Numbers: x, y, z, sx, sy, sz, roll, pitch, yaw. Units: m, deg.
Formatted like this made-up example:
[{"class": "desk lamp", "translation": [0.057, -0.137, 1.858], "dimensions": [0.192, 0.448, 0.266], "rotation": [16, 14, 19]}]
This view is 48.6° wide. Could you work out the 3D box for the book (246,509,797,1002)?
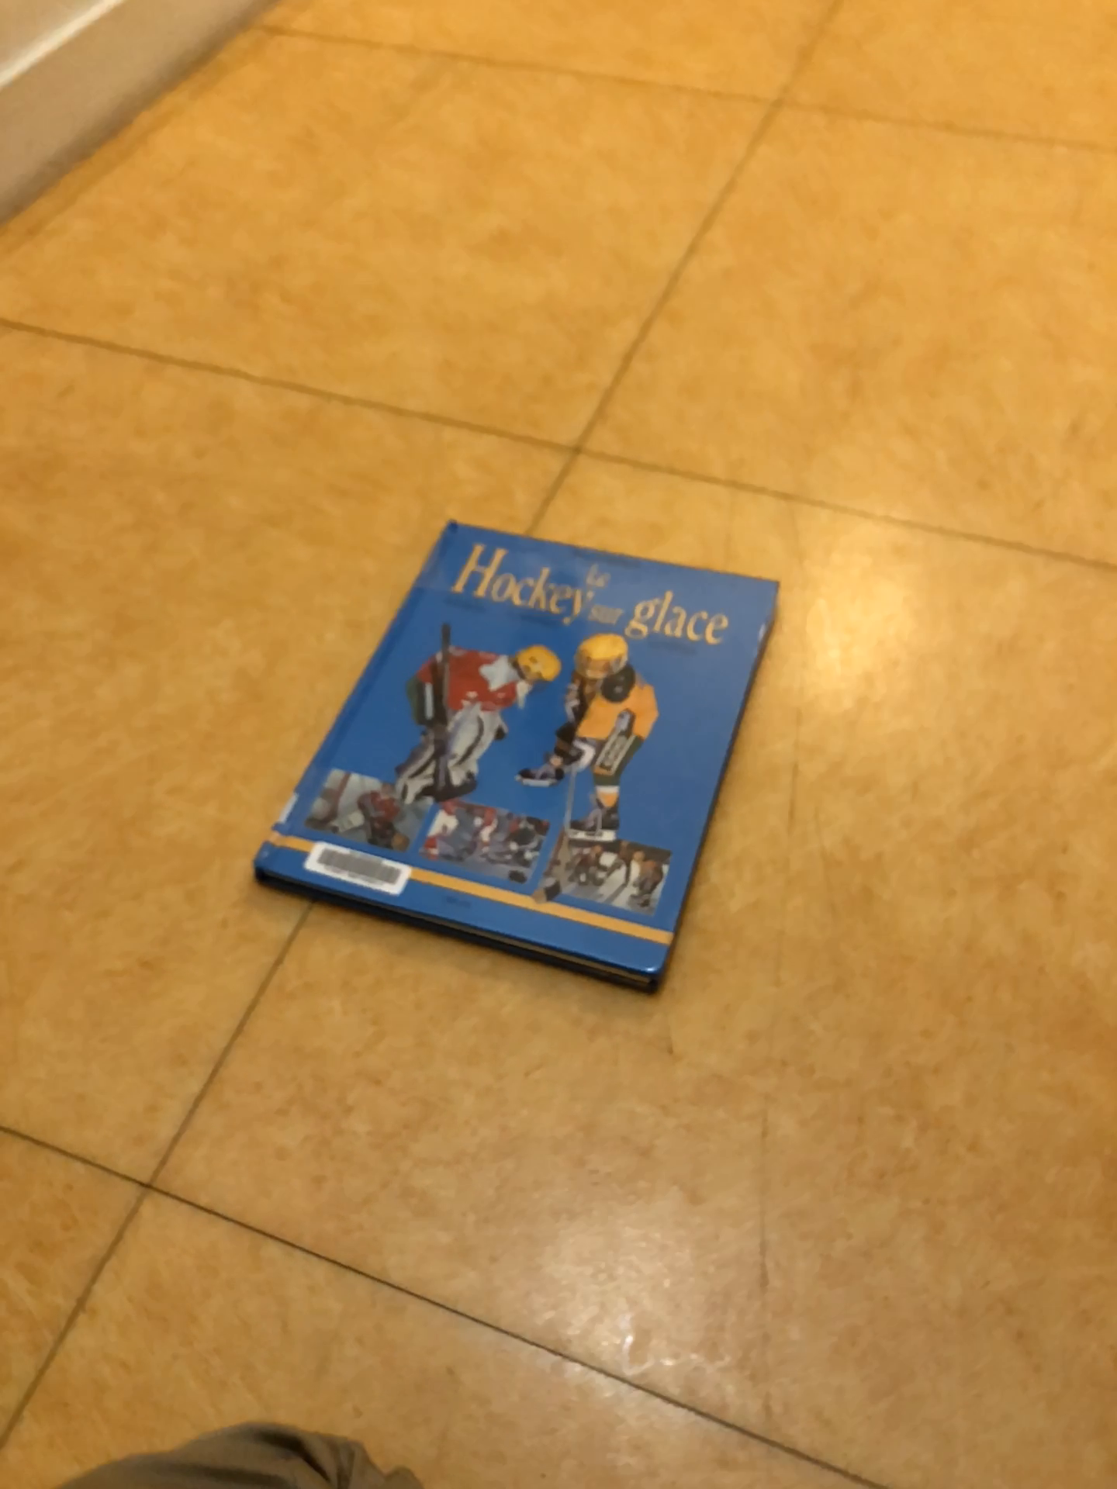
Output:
[{"class": "book", "translation": [-0.007, -0.012, 0.645], "dimensions": [0.210, 0.020, 0.261], "rotation": [13, 53, 12]}]
